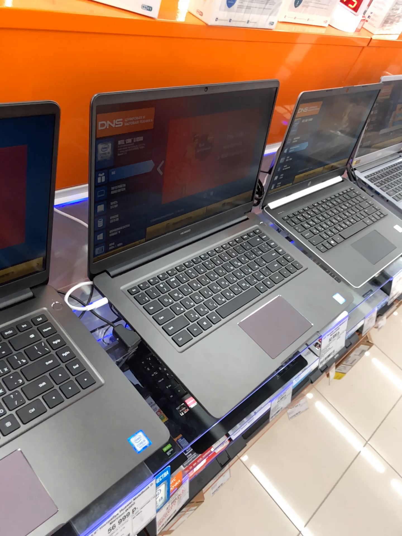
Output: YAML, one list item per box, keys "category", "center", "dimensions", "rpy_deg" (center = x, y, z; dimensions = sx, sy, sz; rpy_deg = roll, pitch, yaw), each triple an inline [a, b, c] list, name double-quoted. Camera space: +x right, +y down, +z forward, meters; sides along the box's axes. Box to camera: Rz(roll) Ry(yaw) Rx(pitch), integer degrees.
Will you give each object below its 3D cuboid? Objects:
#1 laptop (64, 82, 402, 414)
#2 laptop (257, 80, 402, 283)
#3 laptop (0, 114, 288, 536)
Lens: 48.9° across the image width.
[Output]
- category: "laptop"
  center: [0.066, -0.062, 0.576]
  dimensions: [0.287, 0.212, 0.340]
  rpy_deg: [44, 44, 20]
- category: "laptop"
  center: [0.311, -0.173, 0.809]
  dimensions: [0.270, 0.195, 0.243]
  rpy_deg: [-24, 61, -37]
- category: "laptop"
  center: [-0.194, 0.071, 0.299]
  dimensions: [0.241, 0.230, 0.357]
  rpy_deg: [42, 43, 20]
